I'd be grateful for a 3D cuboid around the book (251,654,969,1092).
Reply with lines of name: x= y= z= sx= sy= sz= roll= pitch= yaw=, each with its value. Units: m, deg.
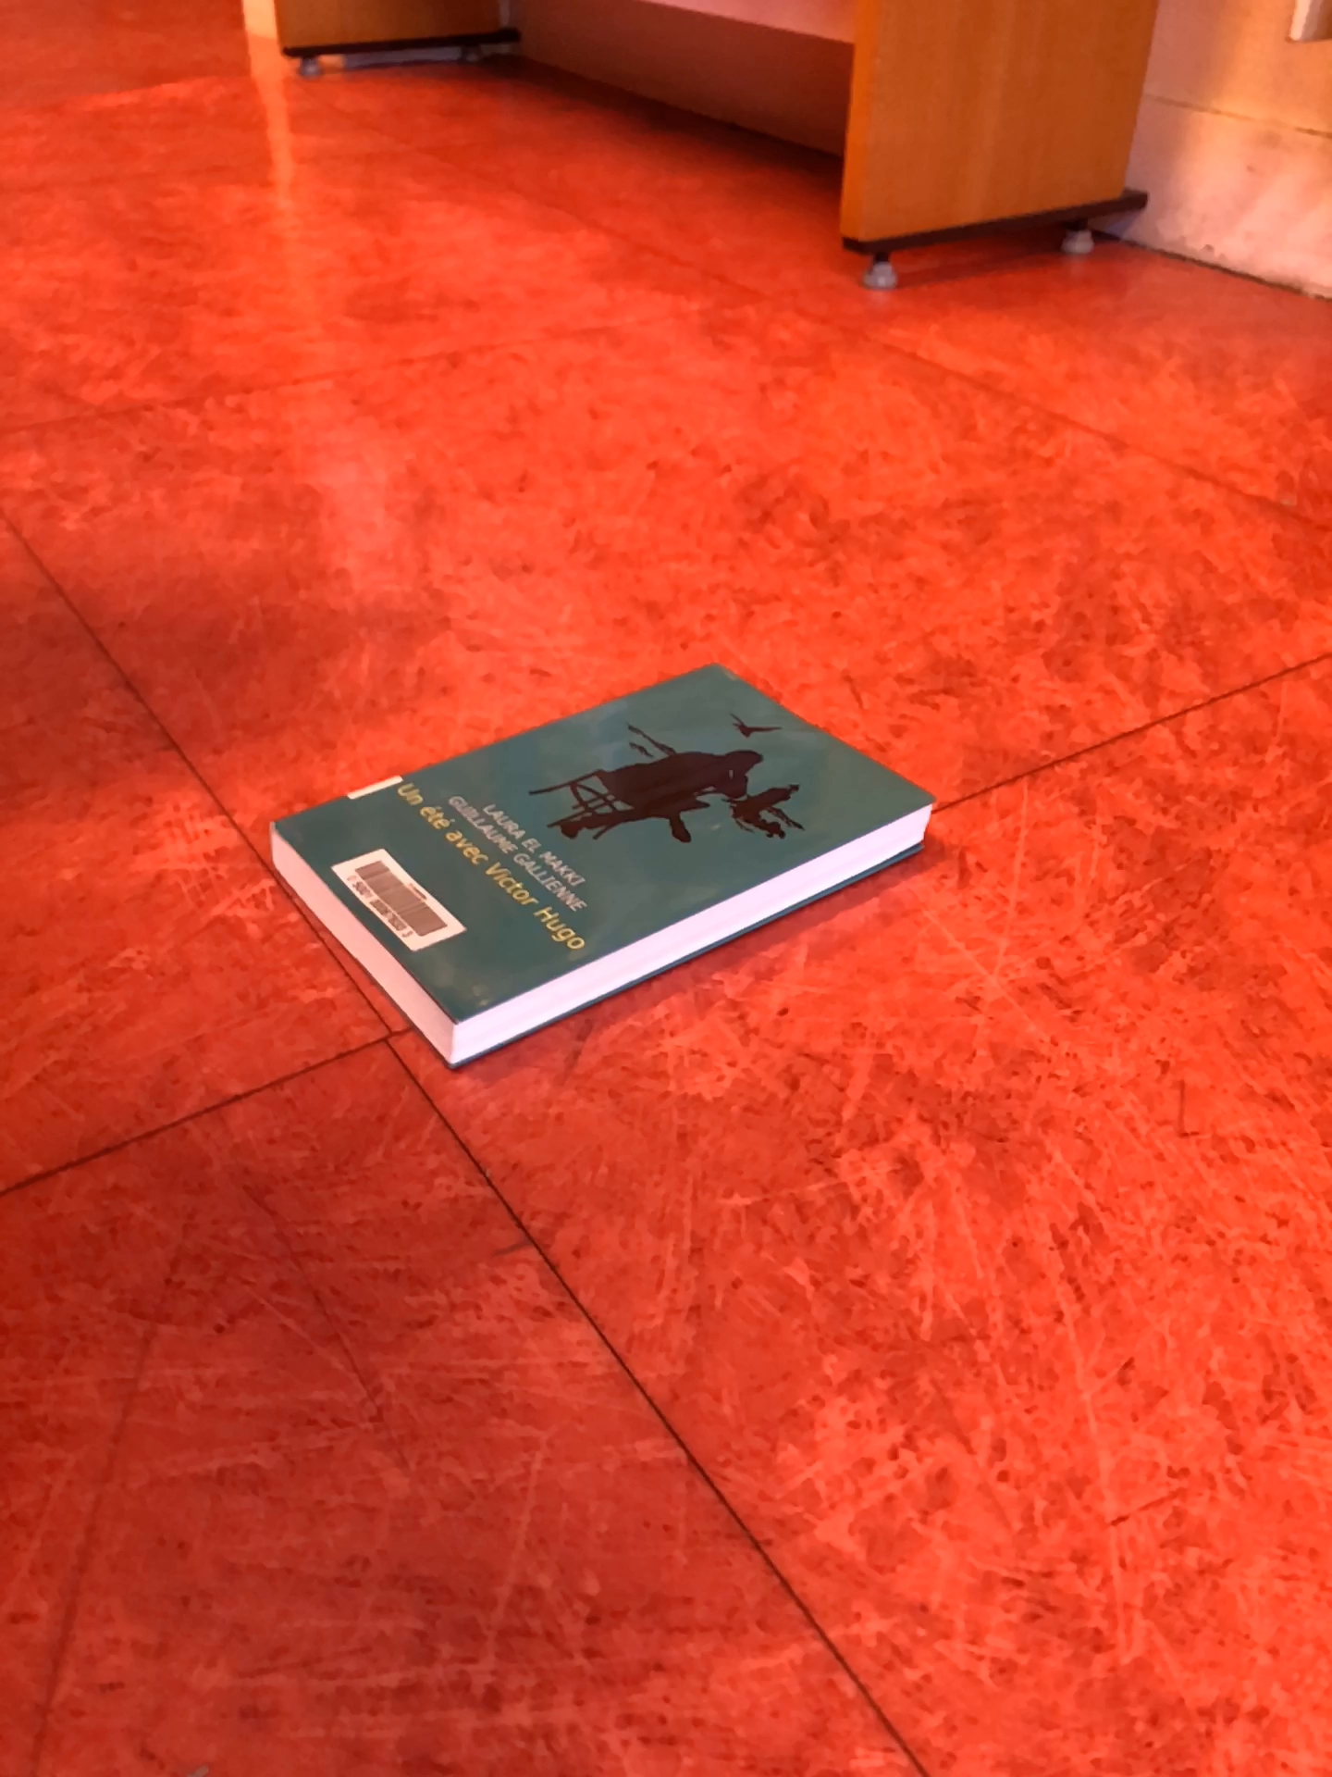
book: x=-0.015 y=-0.015 z=0.420 sx=0.171 sy=0.020 sz=0.110 roll=-22 pitch=42 yaw=-29
